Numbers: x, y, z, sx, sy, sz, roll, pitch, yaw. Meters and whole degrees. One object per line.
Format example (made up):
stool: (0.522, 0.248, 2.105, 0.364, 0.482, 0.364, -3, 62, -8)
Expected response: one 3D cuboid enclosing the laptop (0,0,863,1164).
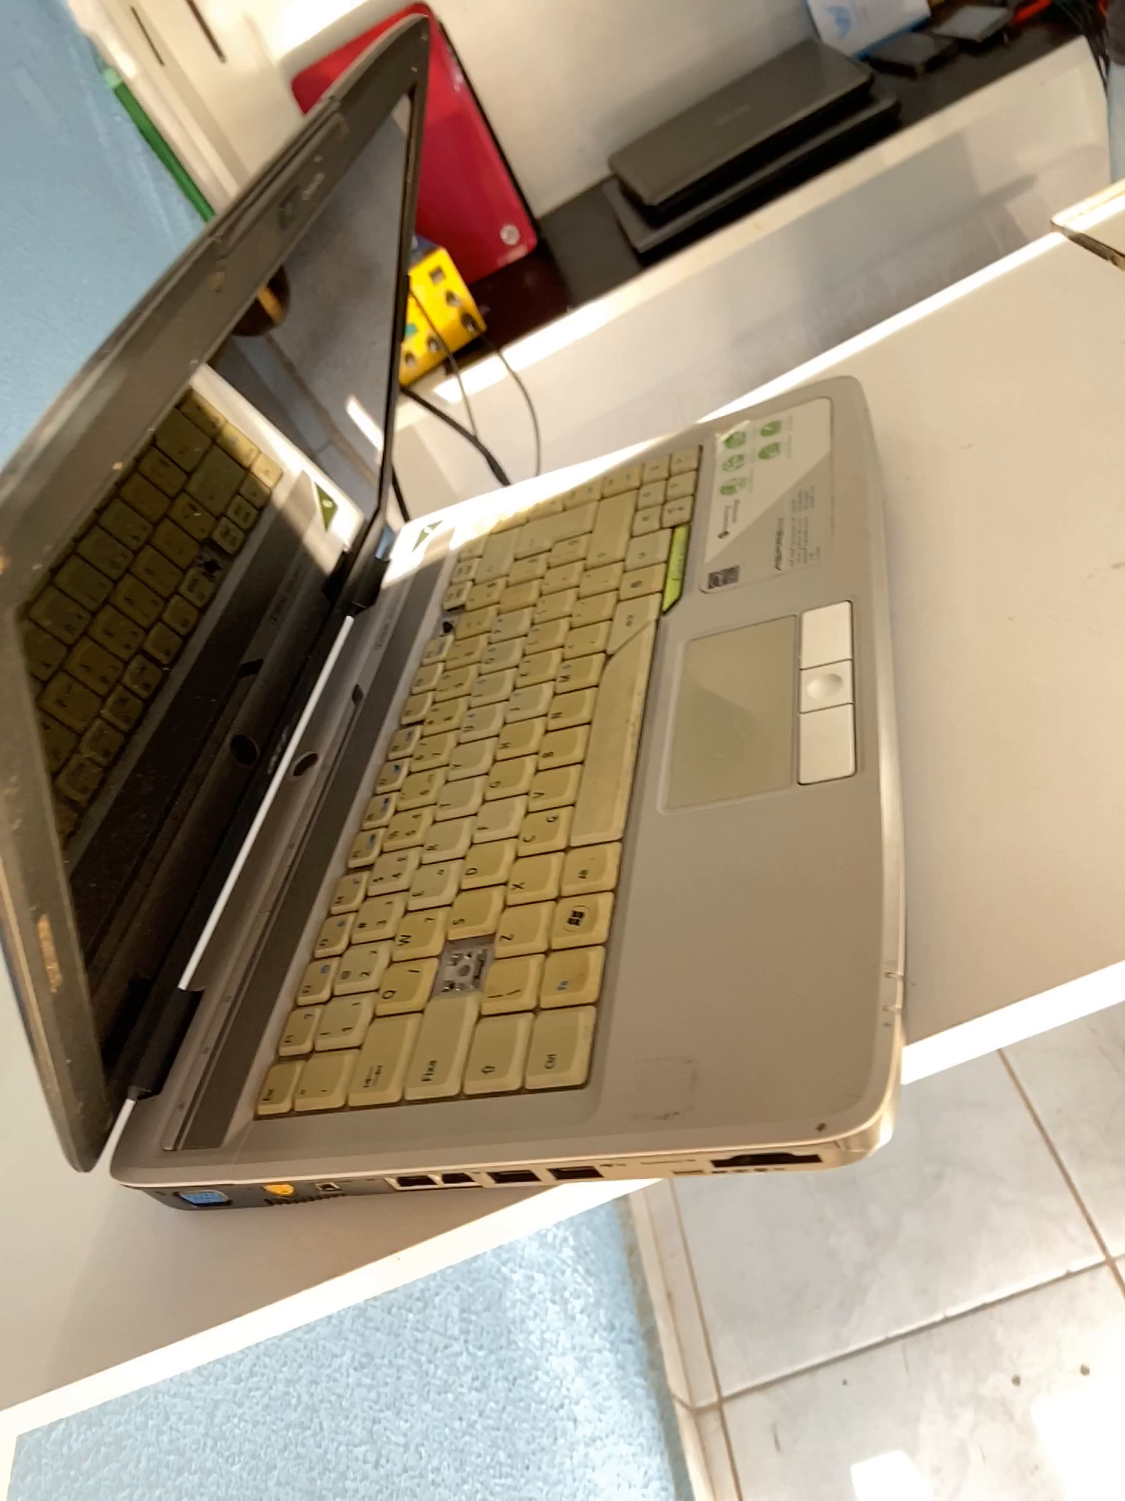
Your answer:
laptop: (-0.049, -0.076, 0.362, 0.225, 0.179, 0.330, -13, 41, 25)
